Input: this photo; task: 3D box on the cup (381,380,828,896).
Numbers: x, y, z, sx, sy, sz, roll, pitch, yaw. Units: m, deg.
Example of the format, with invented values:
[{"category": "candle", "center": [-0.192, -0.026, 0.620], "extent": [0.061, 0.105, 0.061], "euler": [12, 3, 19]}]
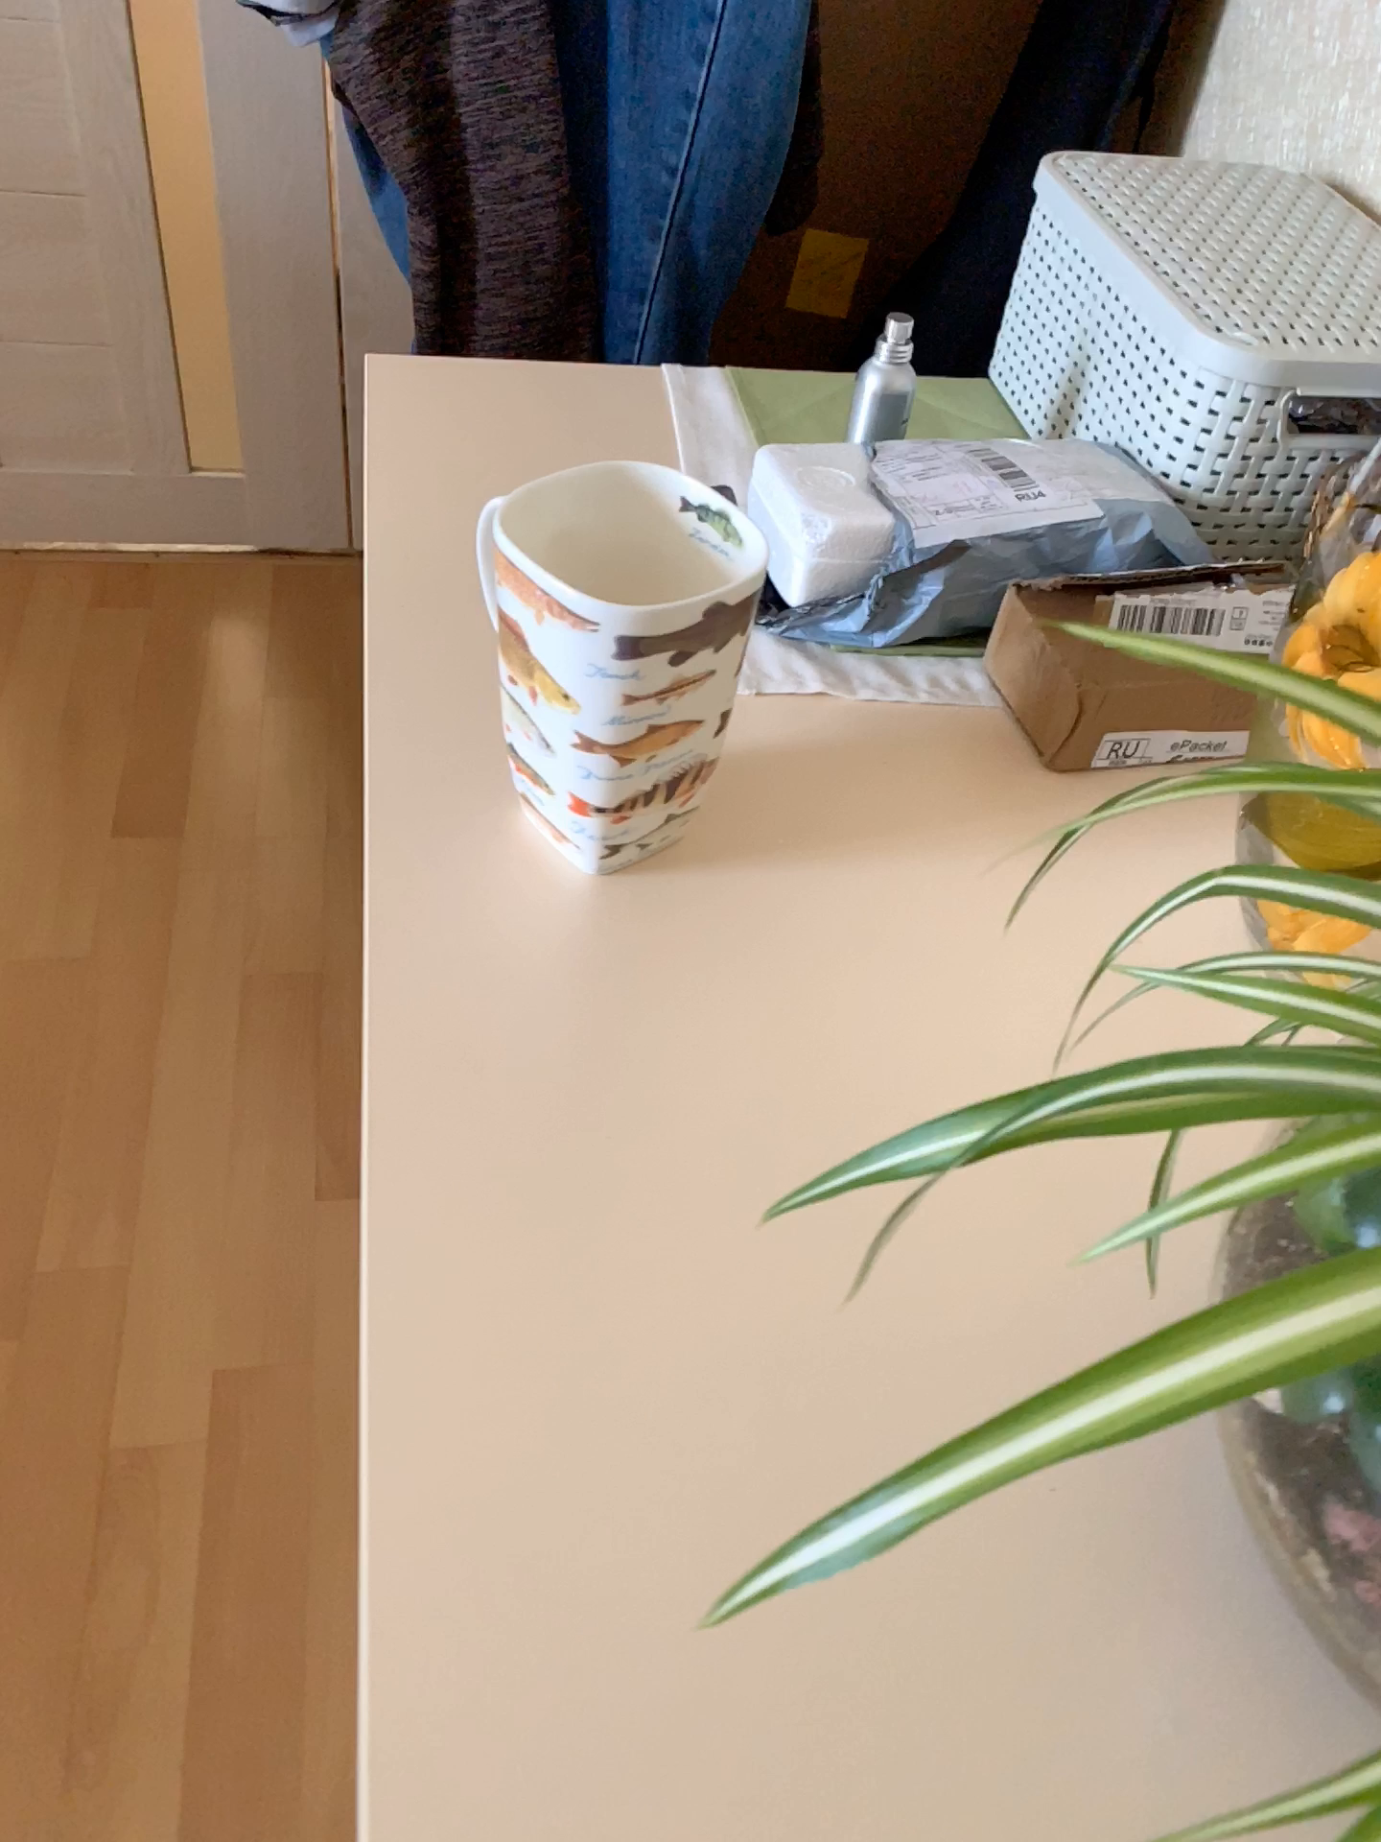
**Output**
[{"category": "cup", "center": [-0.039, -0.112, 0.543], "extent": [0.092, 0.121, 0.139], "euler": [-29, 57, -32]}]
